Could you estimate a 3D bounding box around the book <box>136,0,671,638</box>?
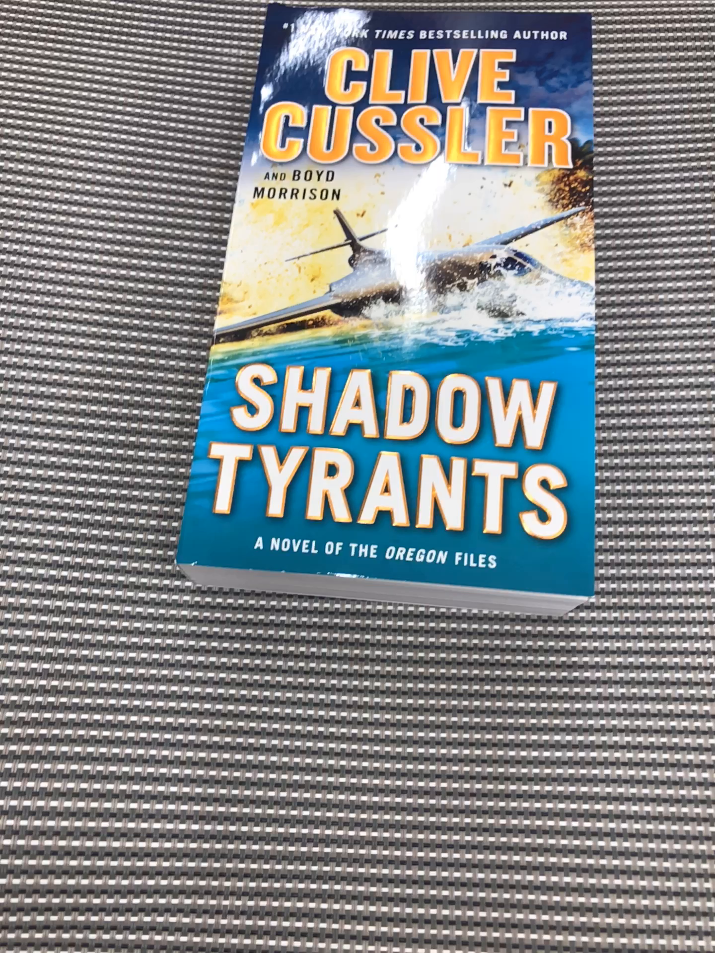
[{"bbox_3d":[0.019,-0.053,0.236,0.120,0.060,0.180,5,71,2],"label":"book"}]
